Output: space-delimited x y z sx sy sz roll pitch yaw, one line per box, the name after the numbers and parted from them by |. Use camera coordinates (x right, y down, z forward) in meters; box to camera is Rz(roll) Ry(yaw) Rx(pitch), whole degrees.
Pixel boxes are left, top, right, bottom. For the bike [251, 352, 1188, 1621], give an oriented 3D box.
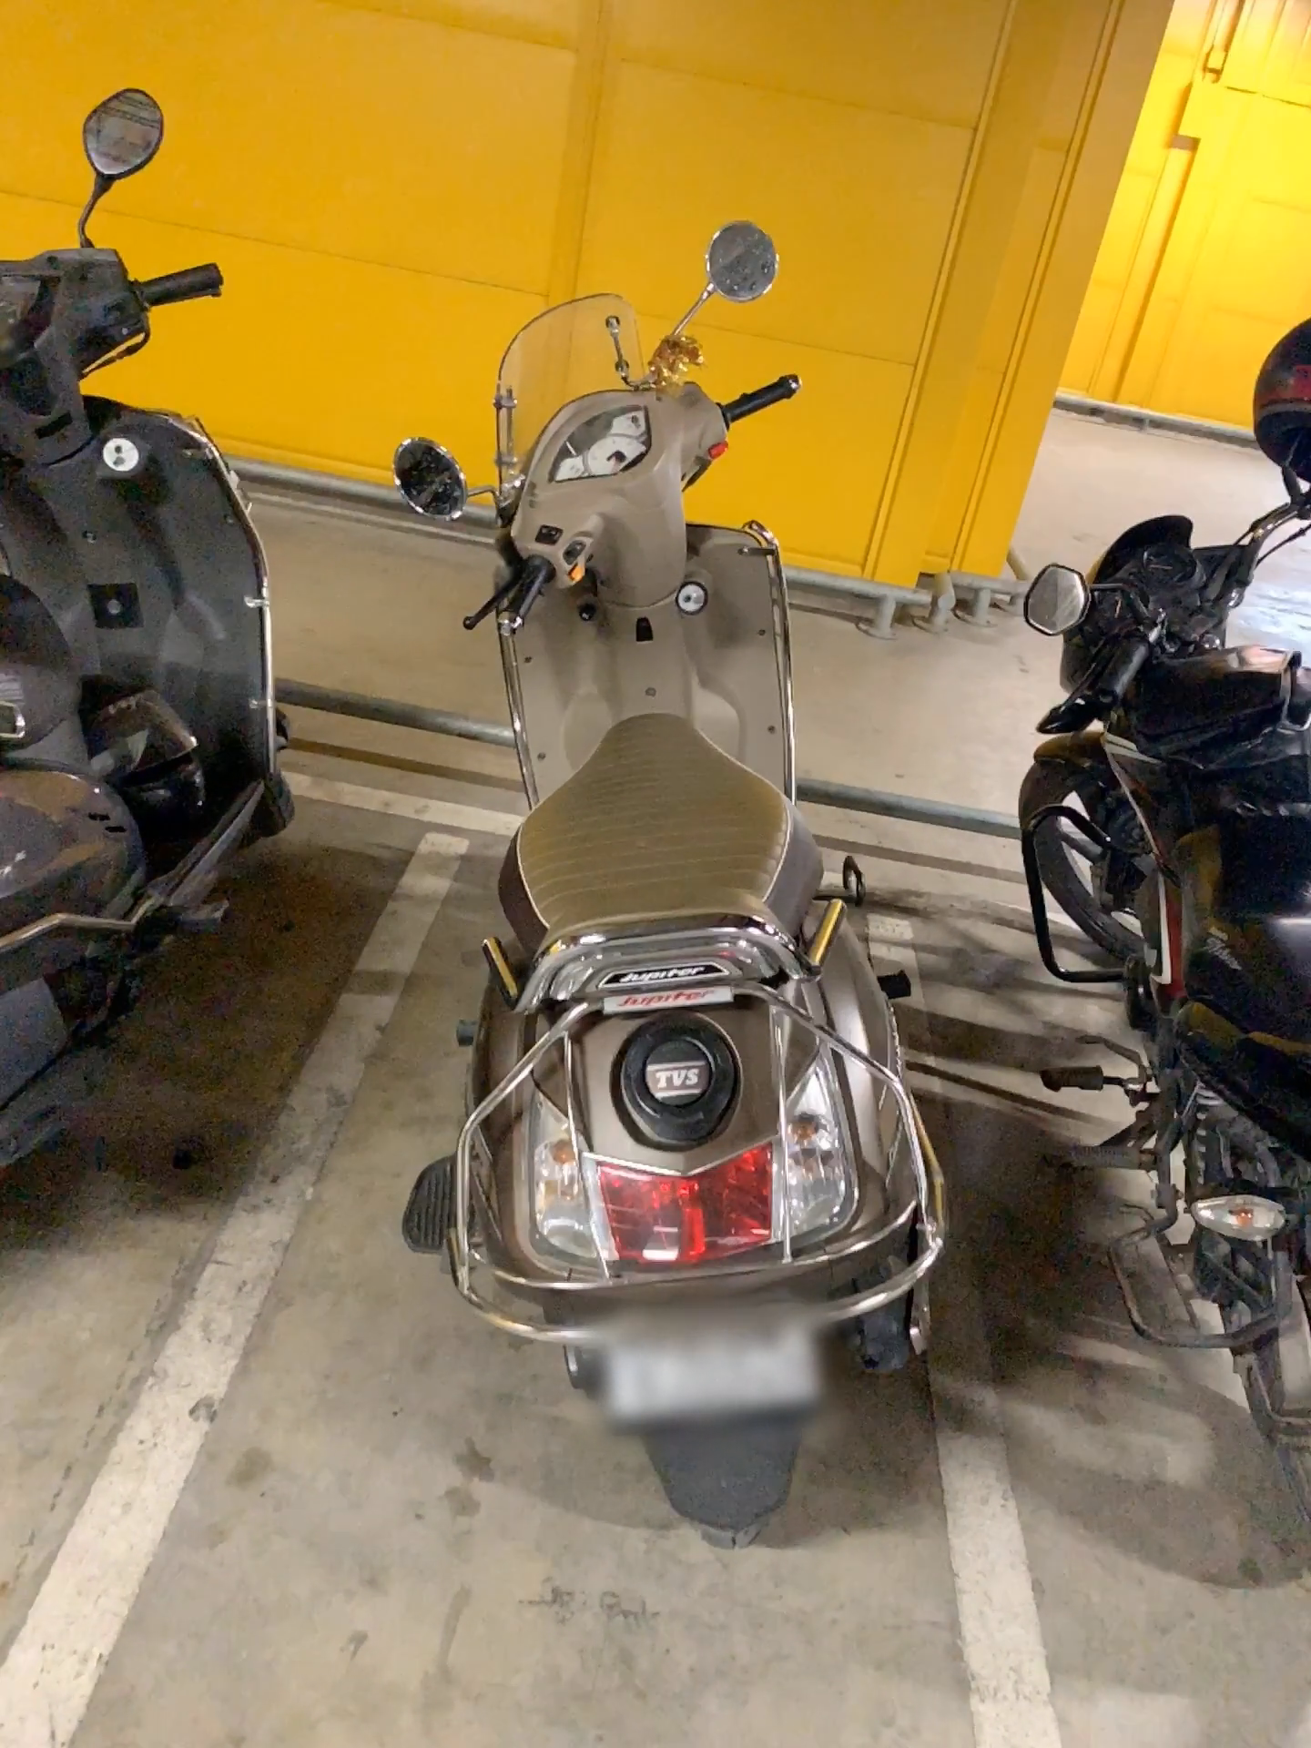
-0.122 -0.033 1.810 0.603 1.027 1.562 5 27 -11 | bike
